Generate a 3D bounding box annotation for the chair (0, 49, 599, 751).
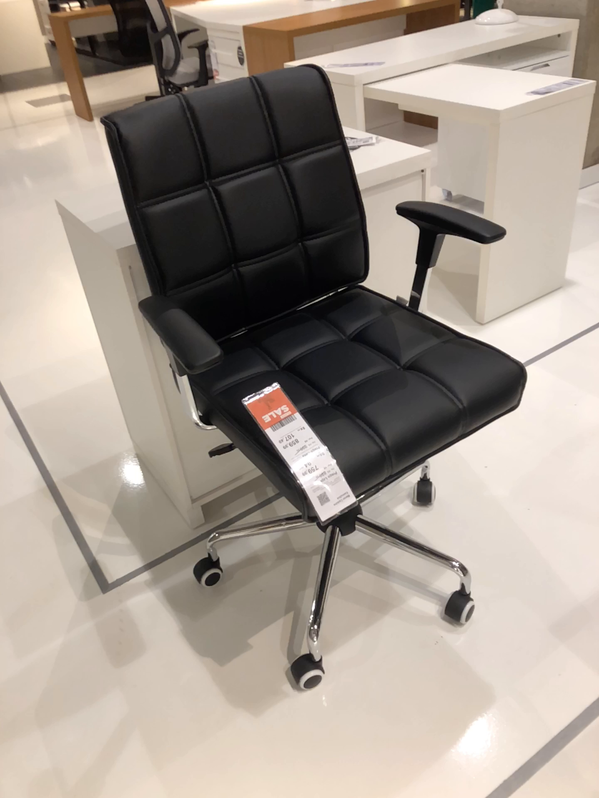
[{"bbox_3d":[0.020,-0.065,1.228,0.622,0.912,0.744,-27,41,-26],"label":"chair"}]
